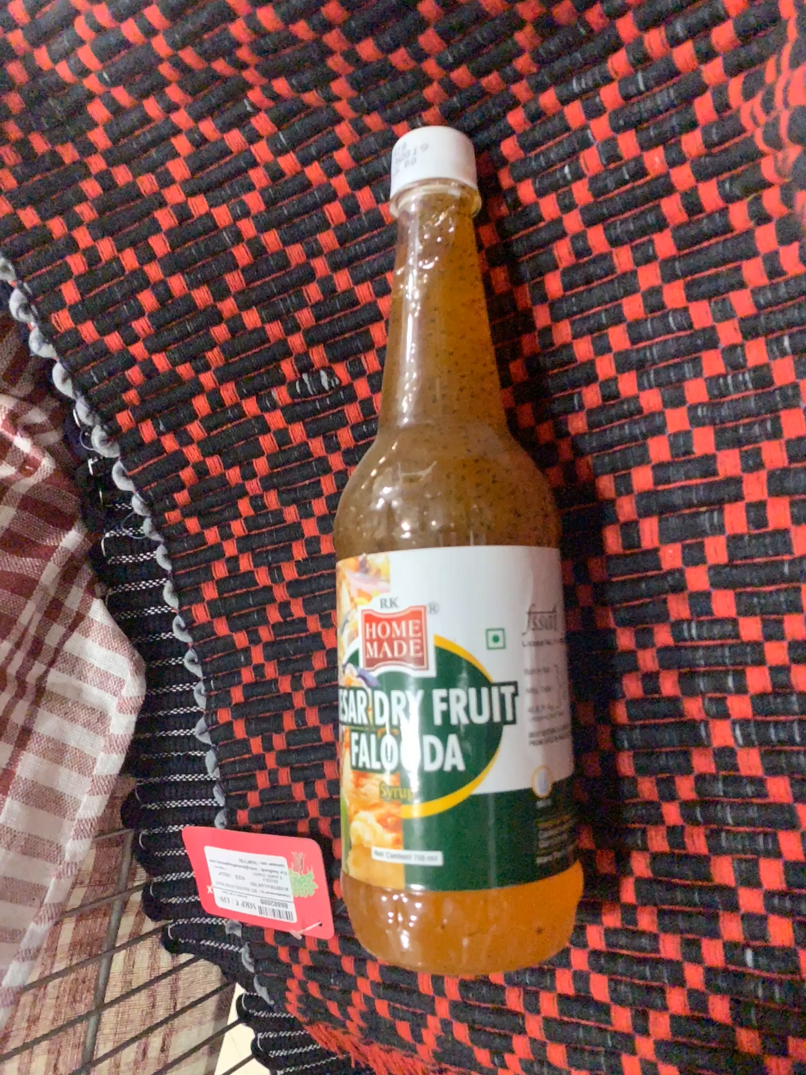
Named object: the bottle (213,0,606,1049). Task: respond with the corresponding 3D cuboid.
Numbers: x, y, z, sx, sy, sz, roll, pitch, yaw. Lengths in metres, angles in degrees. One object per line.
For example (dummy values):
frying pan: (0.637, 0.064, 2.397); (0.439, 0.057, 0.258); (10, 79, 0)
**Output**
bottle: (-0.001, -0.010, 0.248); (0.080, 0.070, 0.260); (-8, 82, 38)
